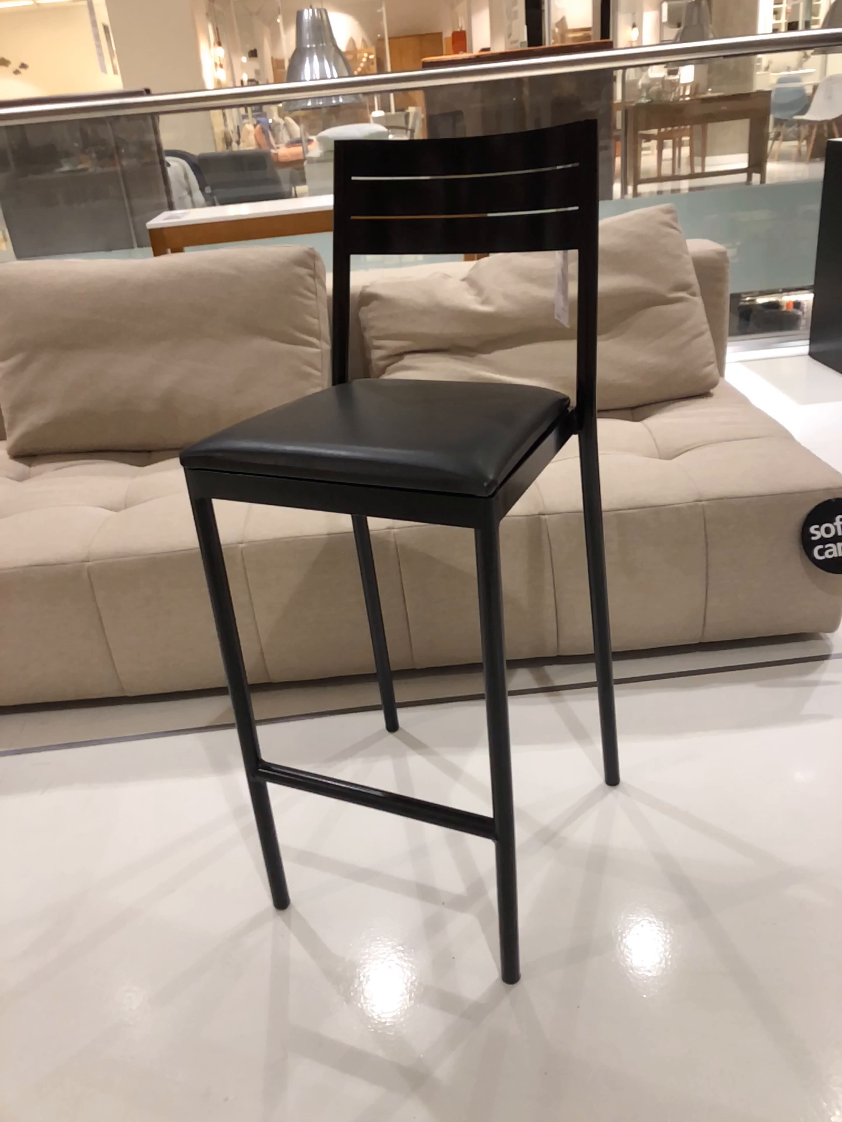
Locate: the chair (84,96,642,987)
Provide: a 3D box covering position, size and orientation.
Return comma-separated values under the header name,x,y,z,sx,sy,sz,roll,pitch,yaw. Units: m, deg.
name,x,y,z,sx,sy,sz,roll,pitch,yaw
chair,0.013,-0.039,1.178,0.421,0.943,0.473,7,29,24
